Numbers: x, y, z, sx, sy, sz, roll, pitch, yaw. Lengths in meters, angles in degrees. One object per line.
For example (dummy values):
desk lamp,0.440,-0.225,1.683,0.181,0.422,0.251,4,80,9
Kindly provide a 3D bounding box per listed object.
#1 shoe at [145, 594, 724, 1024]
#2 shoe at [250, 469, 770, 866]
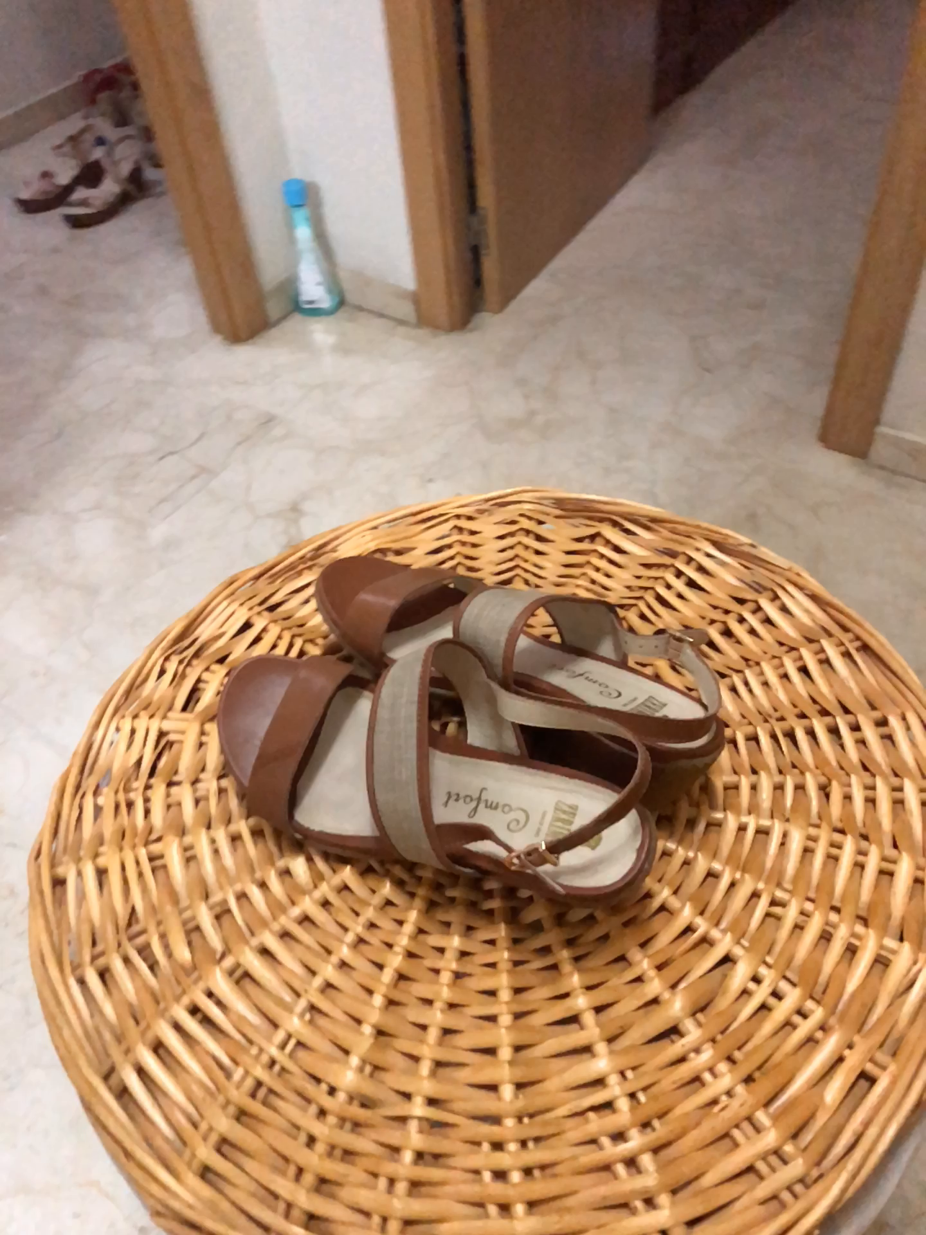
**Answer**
shoe,-0.017,0.089,0.525,0.270,0.090,0.090,19,52,22
shoe,0.014,0.013,0.563,0.271,0.070,0.100,28,41,28
